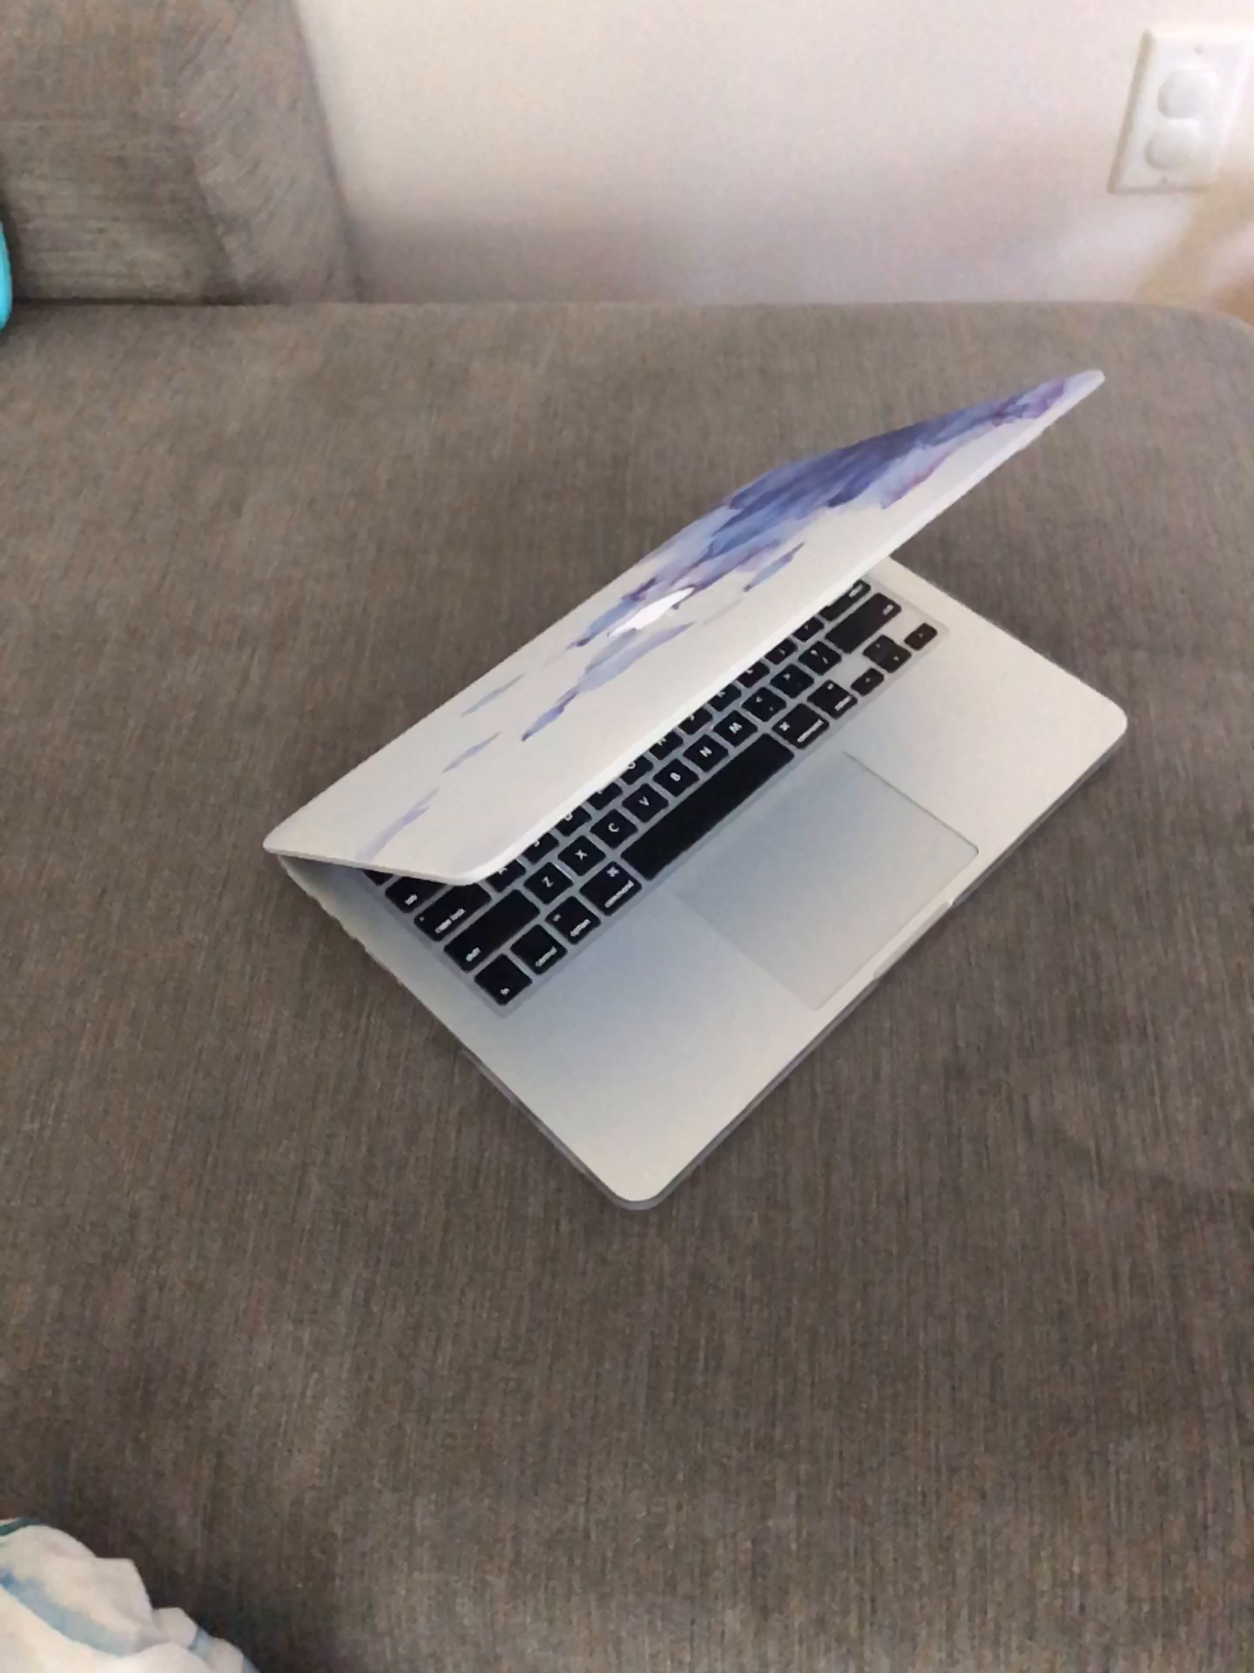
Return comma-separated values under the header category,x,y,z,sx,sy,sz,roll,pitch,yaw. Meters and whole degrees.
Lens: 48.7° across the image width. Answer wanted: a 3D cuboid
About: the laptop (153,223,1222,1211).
category,x,y,z,sx,sy,sz,roll,pitch,yaw
laptop,0.031,-0.063,0.532,0.218,0.137,0.308,39,64,23
